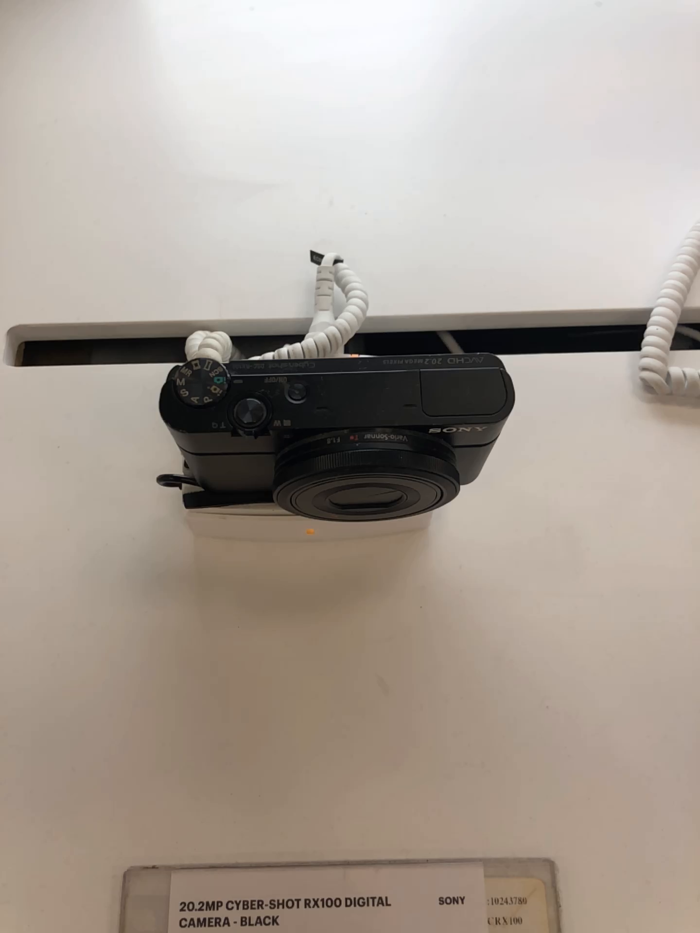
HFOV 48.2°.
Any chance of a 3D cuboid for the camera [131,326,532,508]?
[{"bbox_3d":[-0.005,-0.013,0.253,0.110,0.070,0.030,-1,68,0],"label":"camera"}]
